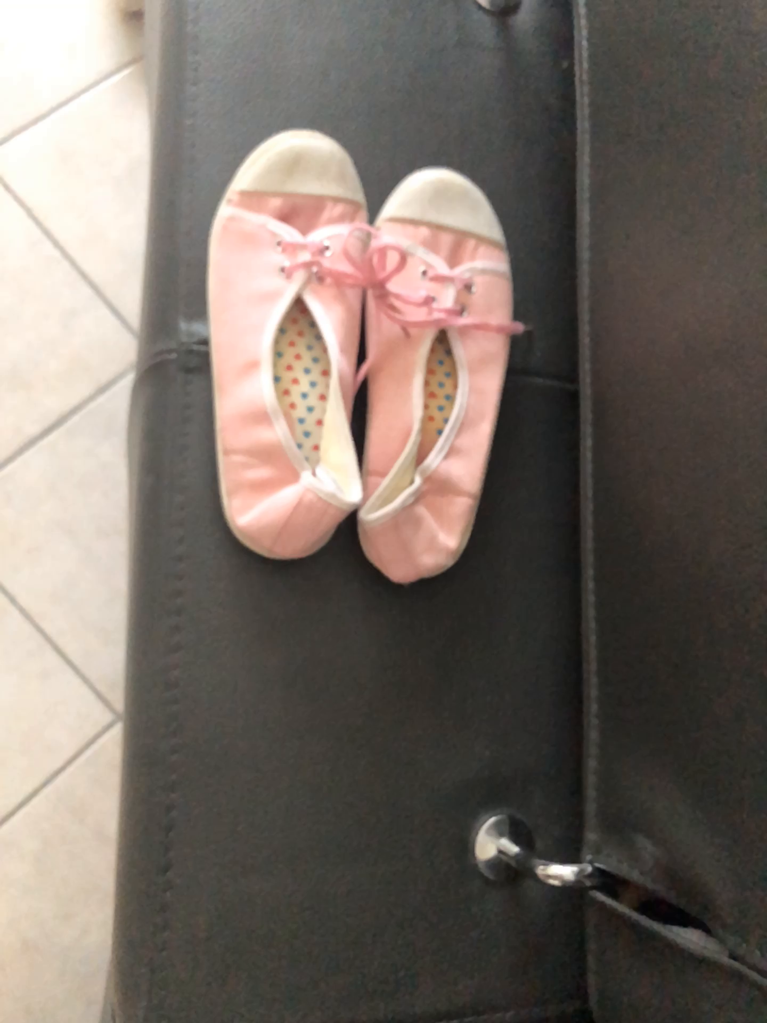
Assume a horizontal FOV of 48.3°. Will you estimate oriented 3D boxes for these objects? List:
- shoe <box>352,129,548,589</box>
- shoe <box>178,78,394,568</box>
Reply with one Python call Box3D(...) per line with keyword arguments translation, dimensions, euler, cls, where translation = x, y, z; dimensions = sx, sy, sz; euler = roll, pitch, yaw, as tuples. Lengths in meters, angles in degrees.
Box3D(translation=(0.038, -0.081, 0.475), dimensions=(0.090, 0.040, 0.240), euler=(5, 81, -15), cls="shoe")
Box3D(translation=(-0.050, -0.095, 0.446), dimensions=(0.090, 0.040, 0.240), euler=(5, 81, -15), cls="shoe")
